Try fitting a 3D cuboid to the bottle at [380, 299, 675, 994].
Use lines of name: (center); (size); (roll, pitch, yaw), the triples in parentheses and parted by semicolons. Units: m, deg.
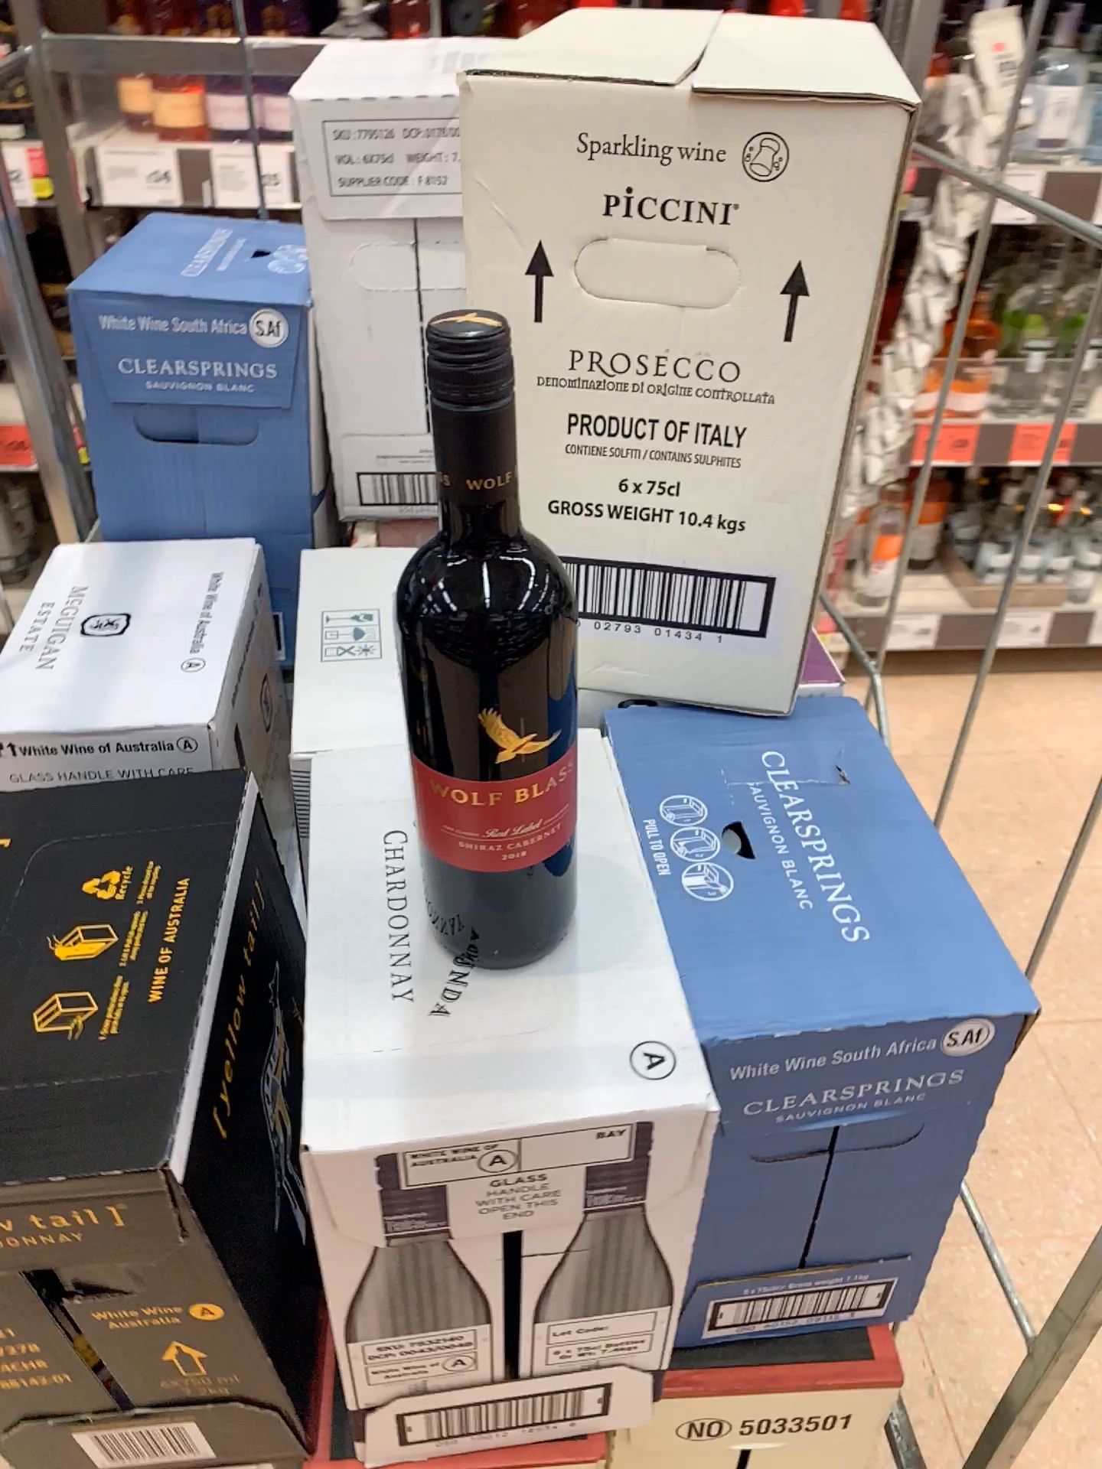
bottle: (-0.014, -0.023, 0.457); (0.080, 0.270, 0.076); (1, 36, -1)
